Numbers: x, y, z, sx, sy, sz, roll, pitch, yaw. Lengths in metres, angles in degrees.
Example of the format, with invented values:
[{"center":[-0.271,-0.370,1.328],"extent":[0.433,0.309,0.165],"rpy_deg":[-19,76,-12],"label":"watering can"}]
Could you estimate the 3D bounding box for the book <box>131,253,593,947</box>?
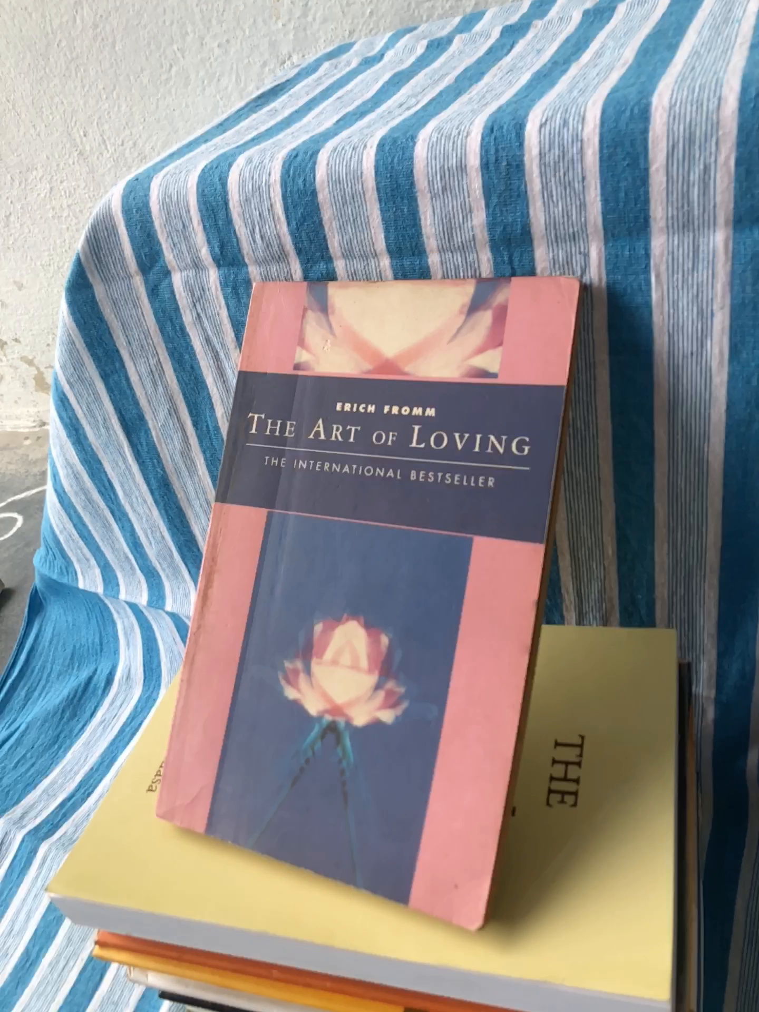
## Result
[{"center":[-0.010,0.017,0.269],"extent":[0.129,0.015,0.193],"rpy_deg":[5,83,29],"label":"book"}]
